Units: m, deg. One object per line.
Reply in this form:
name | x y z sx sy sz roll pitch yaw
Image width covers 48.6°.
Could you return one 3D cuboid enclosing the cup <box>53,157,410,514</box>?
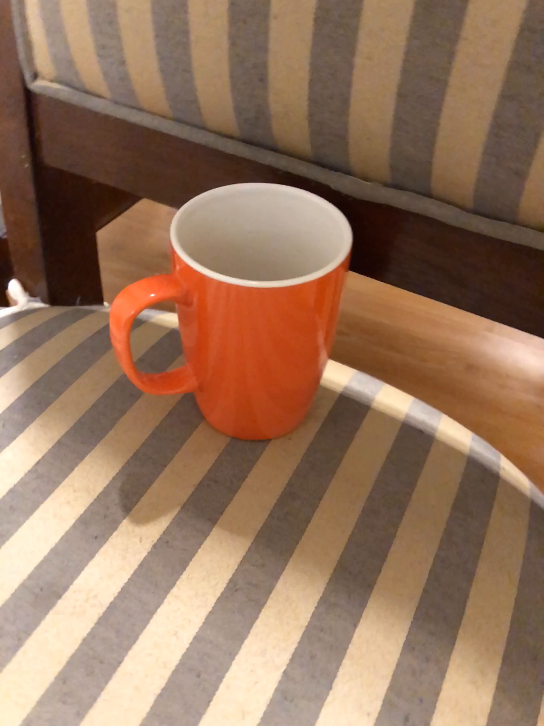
cup | -0.018 -0.018 0.289 0.120 0.099 0.090 -28 54 -27
